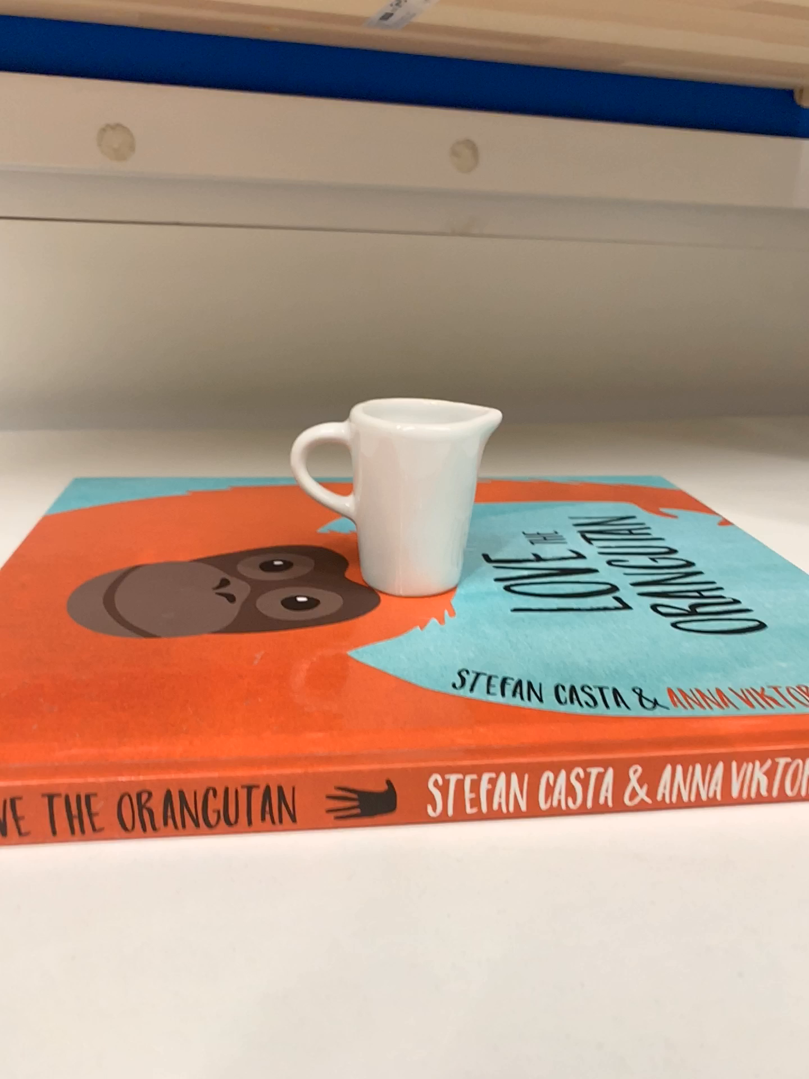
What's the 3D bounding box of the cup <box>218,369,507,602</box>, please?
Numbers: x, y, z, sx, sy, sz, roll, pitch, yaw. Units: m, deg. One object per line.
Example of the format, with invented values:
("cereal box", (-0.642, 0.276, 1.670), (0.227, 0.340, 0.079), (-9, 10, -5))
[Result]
("cup", (-0.010, -0.017, 0.235), (0.070, 0.050, 0.050), (3, 20, 1))
